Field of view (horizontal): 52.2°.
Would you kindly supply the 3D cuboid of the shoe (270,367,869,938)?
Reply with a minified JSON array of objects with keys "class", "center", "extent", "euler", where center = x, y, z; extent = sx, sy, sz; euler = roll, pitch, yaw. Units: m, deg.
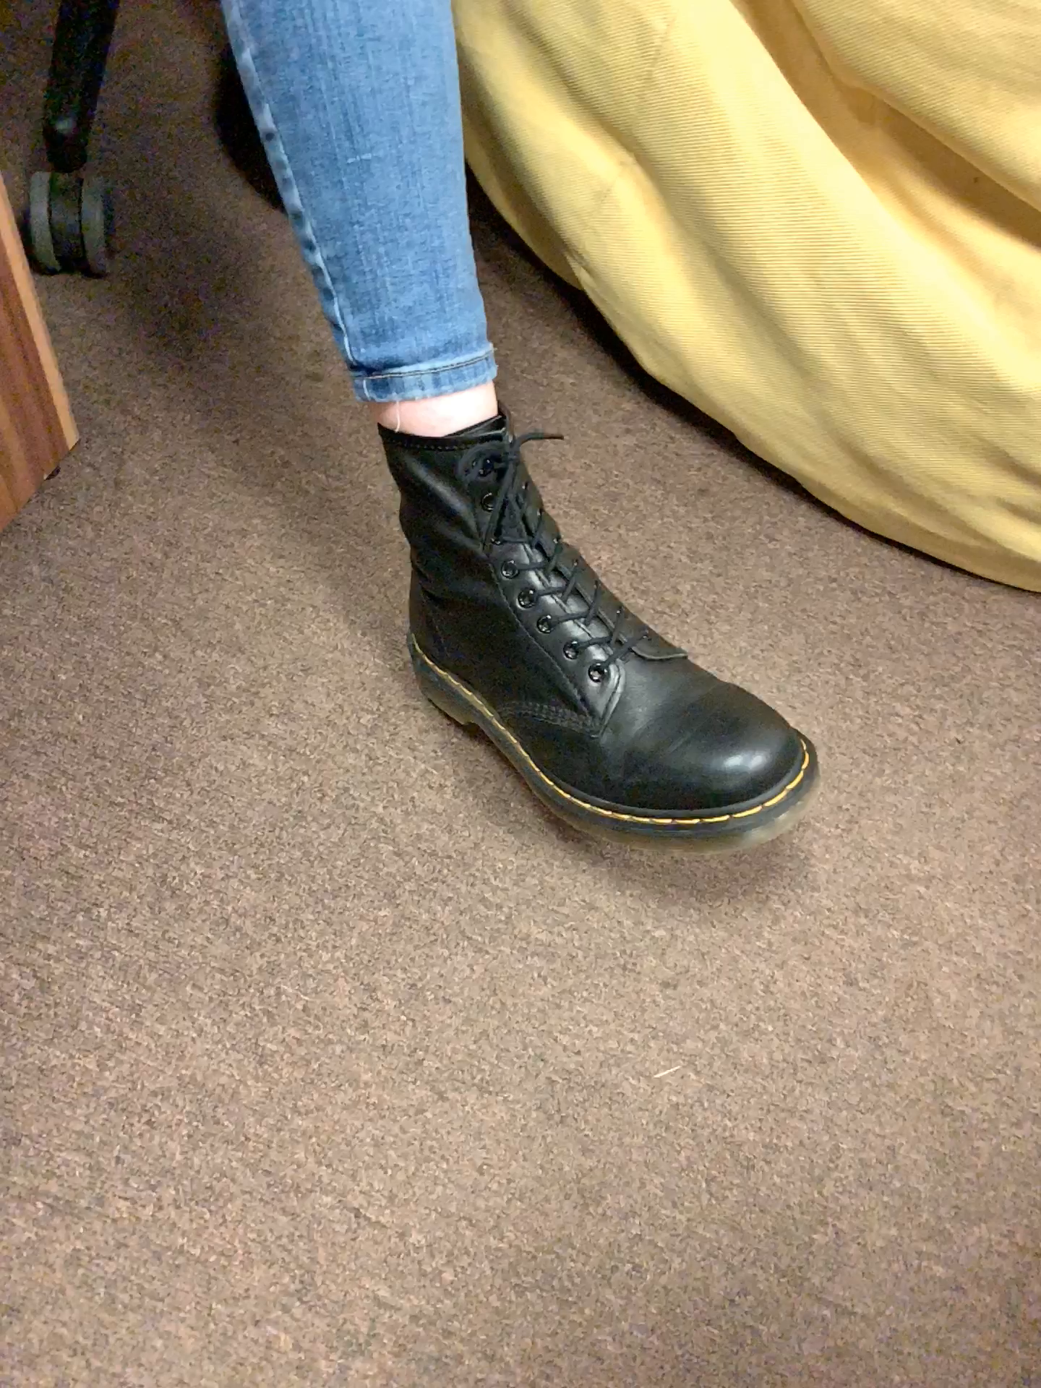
[{"class":"shoe","center":[0.014,-0.040,0.546],"extent":[0.120,0.150,0.290],"euler":[-33,45,-24]}]
